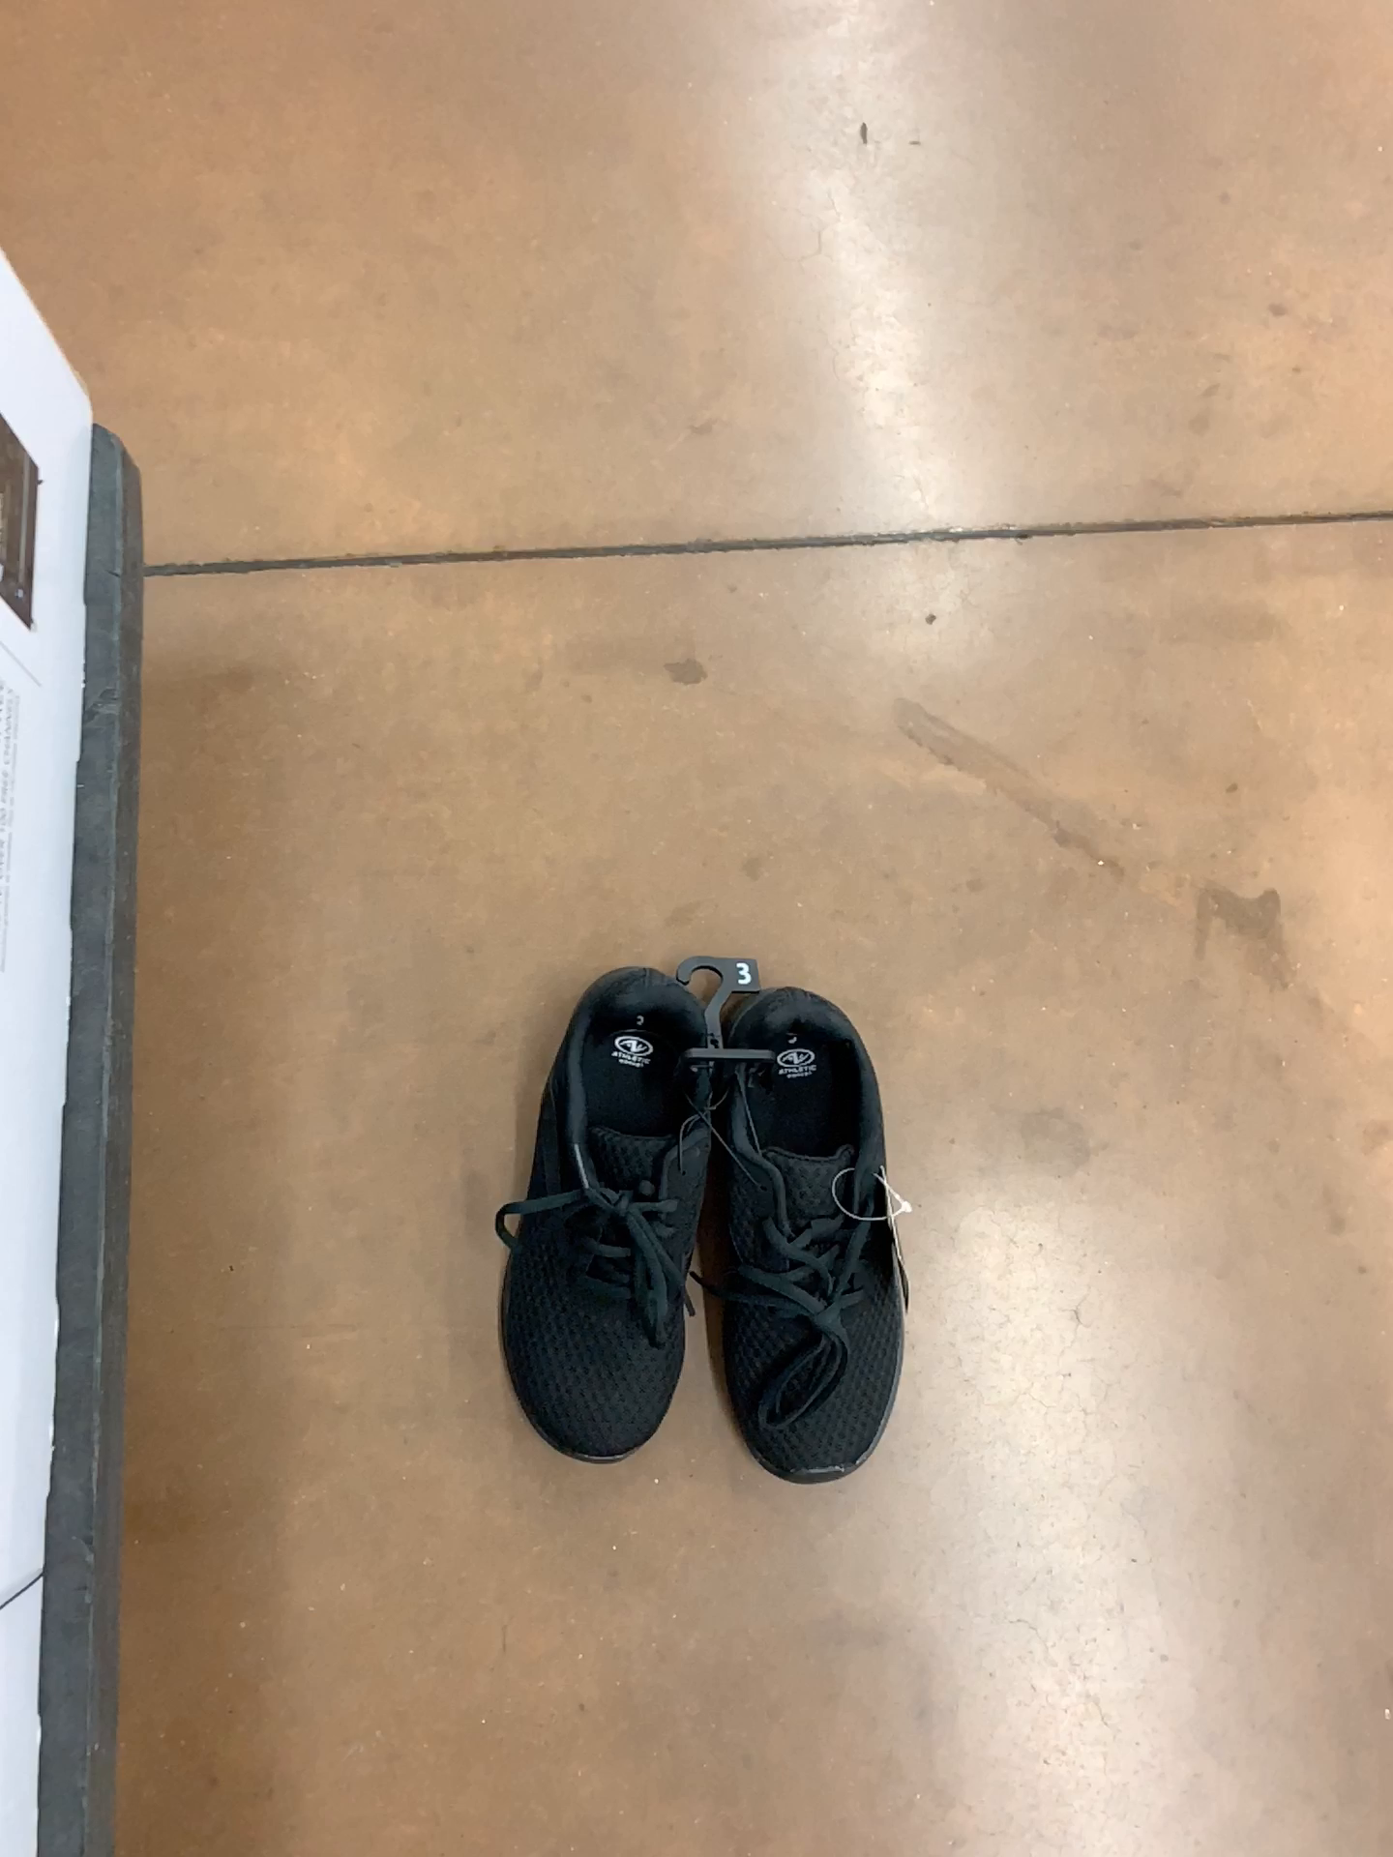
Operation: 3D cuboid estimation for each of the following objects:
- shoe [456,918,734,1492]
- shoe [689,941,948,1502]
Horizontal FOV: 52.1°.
[{"bbox_3d":[-0.041,0.121,0.639,0.090,0.080,0.230,6,75,0],"label":"shoe"},{"bbox_3d":[0.049,0.129,0.646,0.090,0.080,0.230,-3,75,-3],"label":"shoe"}]
